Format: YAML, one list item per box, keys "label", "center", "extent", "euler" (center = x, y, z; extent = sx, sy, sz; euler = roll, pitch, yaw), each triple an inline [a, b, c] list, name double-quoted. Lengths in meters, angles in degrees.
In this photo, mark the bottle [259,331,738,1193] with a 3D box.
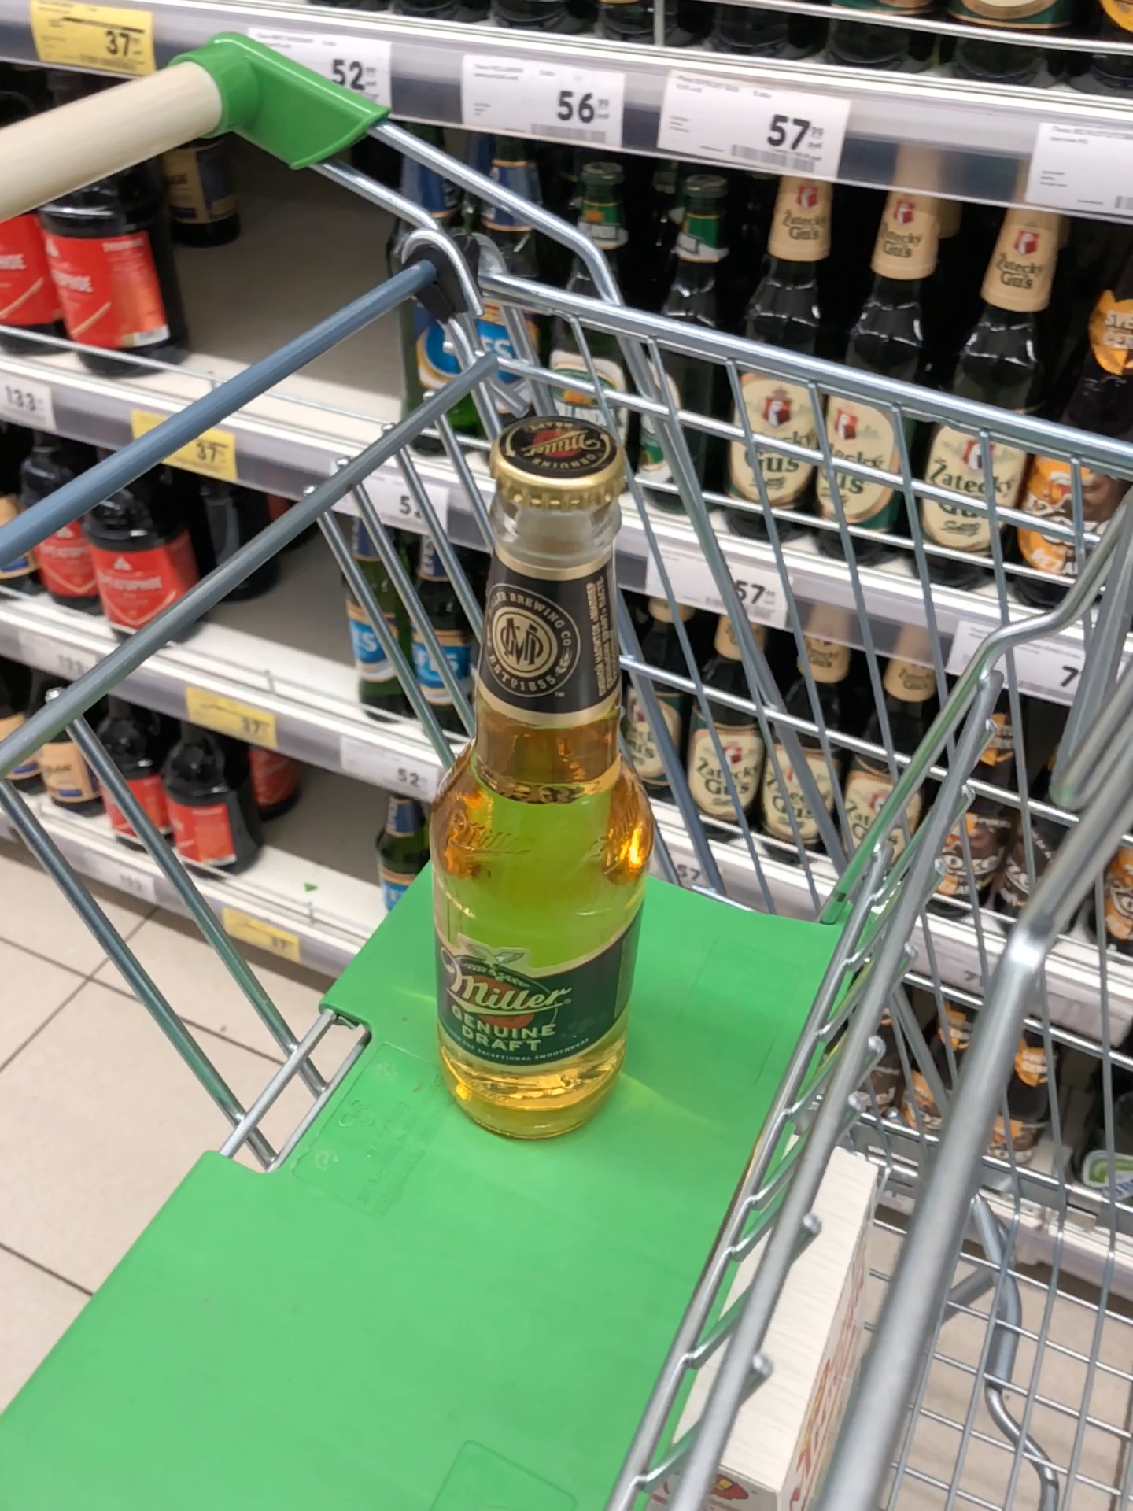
- label: "bottle"
  center: [-0.012, 0.013, 0.321]
  extent: [0.070, 0.209, 0.070]
  euler: [0, 41, 0]
